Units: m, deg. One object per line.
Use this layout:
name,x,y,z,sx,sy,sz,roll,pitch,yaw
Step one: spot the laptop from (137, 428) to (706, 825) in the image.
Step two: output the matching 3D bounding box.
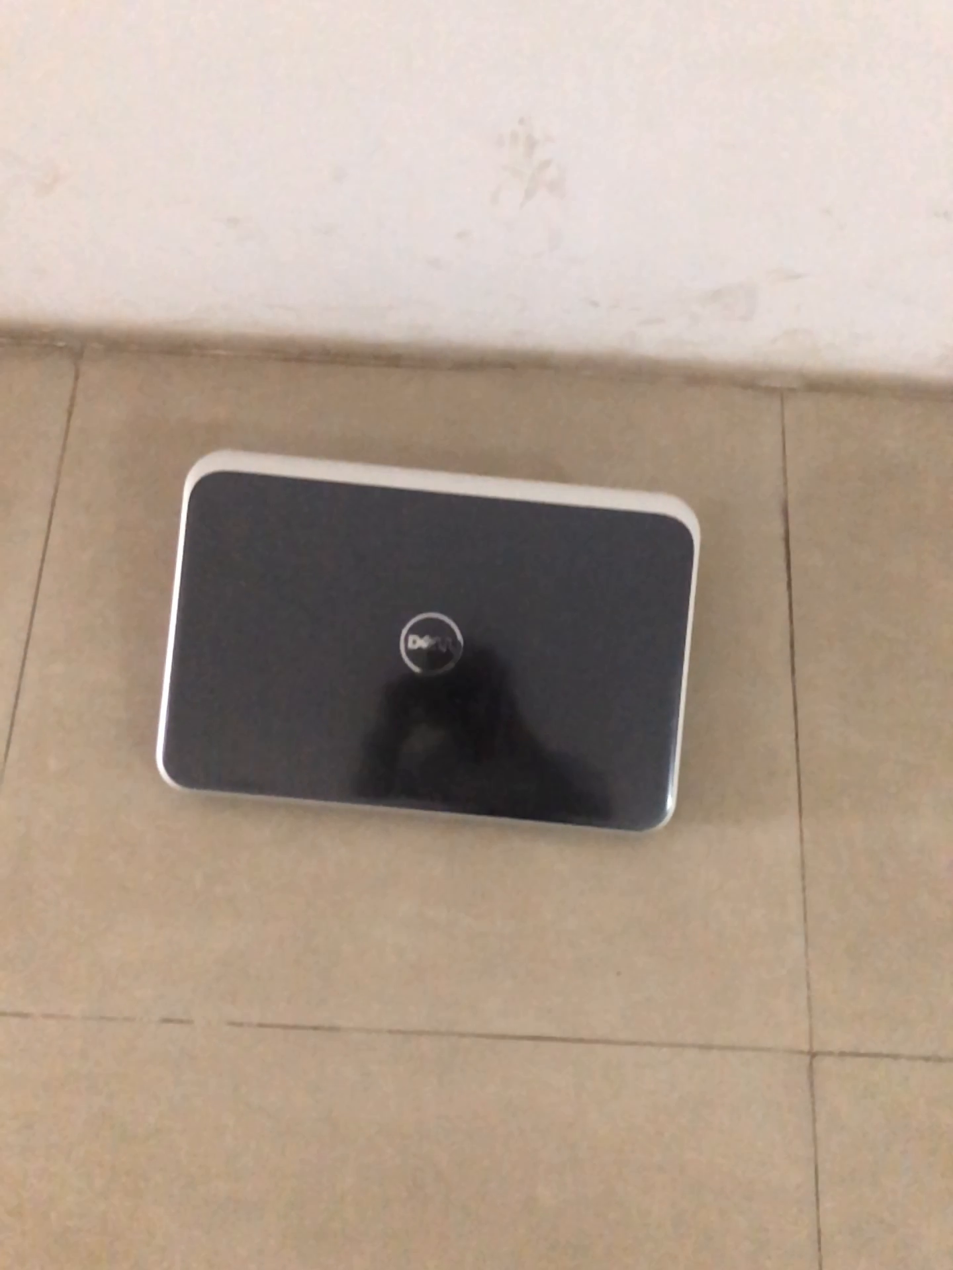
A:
laptop,-0.028,-0.003,0.750,0.360,0.080,0.235,6,74,-2
